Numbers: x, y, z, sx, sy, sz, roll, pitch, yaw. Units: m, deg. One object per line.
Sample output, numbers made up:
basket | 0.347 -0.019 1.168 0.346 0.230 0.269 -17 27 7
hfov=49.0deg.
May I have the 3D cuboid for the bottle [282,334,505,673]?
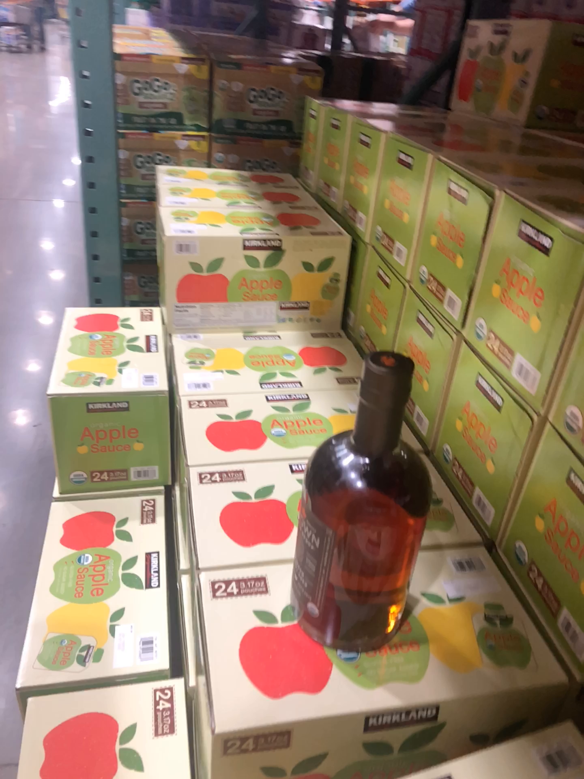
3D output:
bottle | 0.059 0.082 0.460 0.090 0.219 0.100 -3 32 -16
